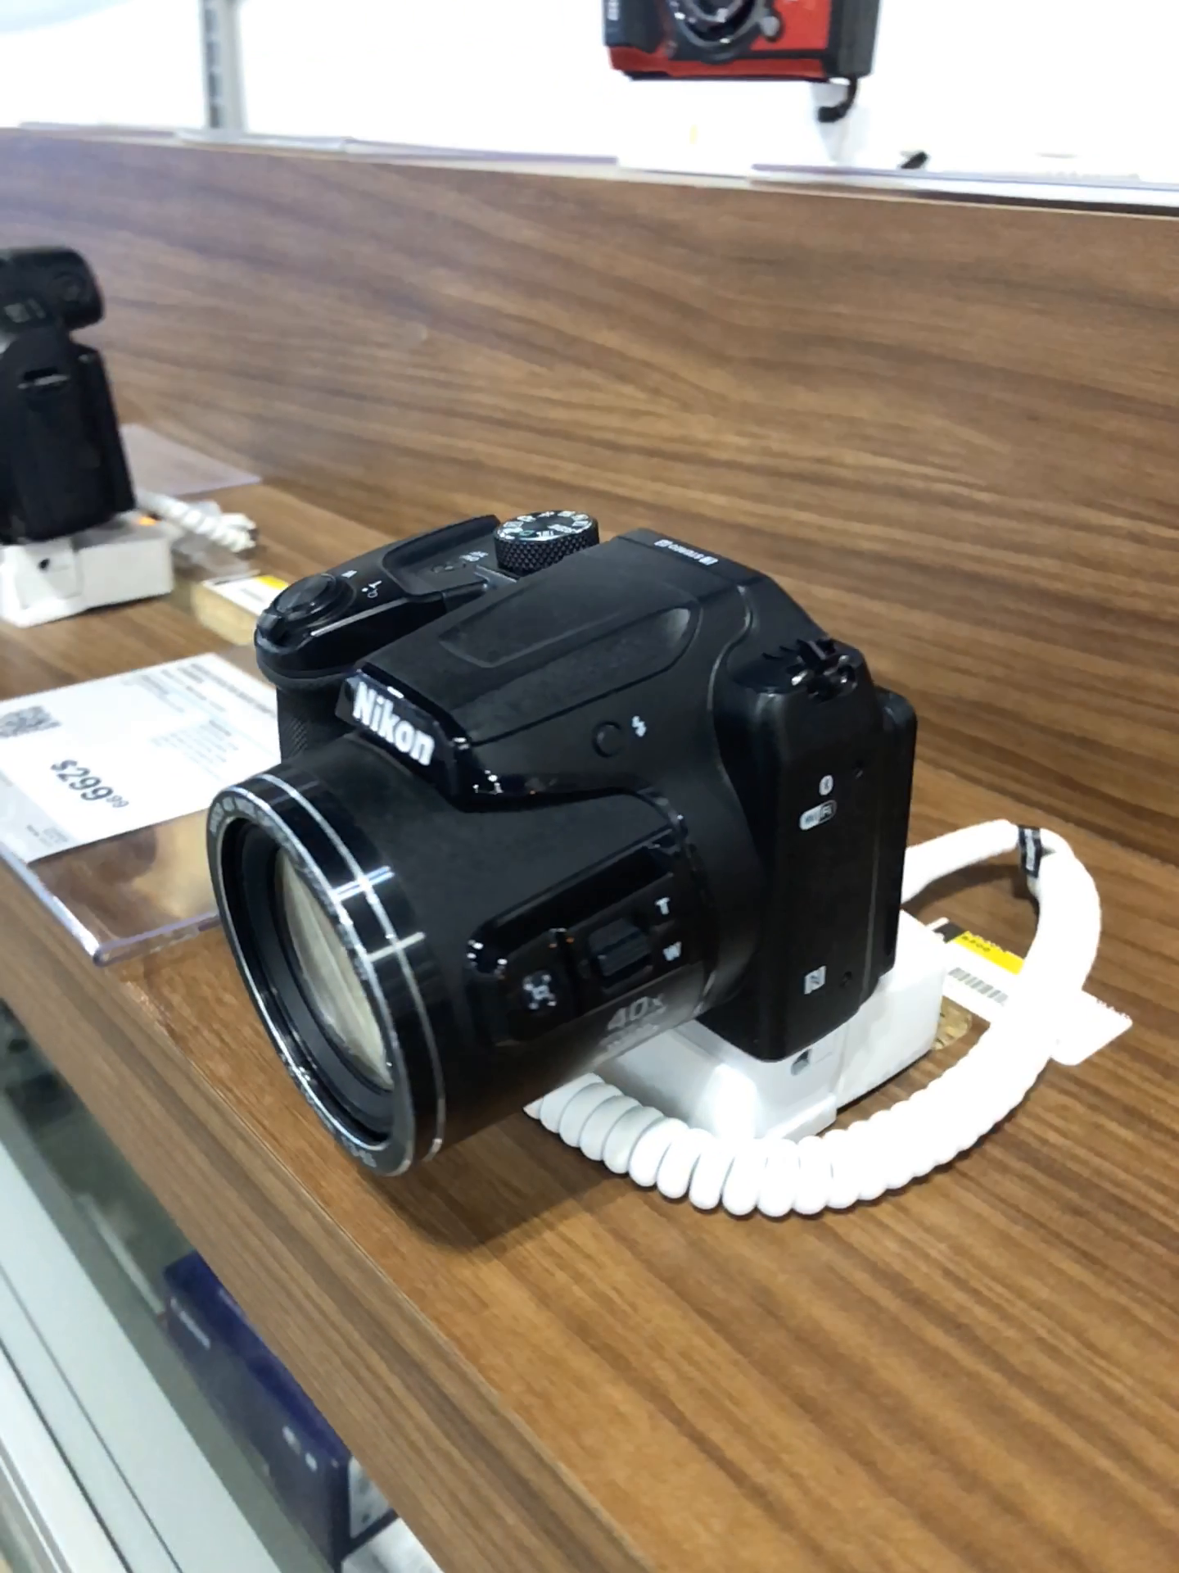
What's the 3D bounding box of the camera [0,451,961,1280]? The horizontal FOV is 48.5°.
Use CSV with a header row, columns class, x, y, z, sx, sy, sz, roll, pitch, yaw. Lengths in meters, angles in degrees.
class,x,y,z,sx,sy,sz,roll,pitch,yaw
camera,-0.026,-0.005,0.226,0.100,0.070,0.131,-19,33,-37
